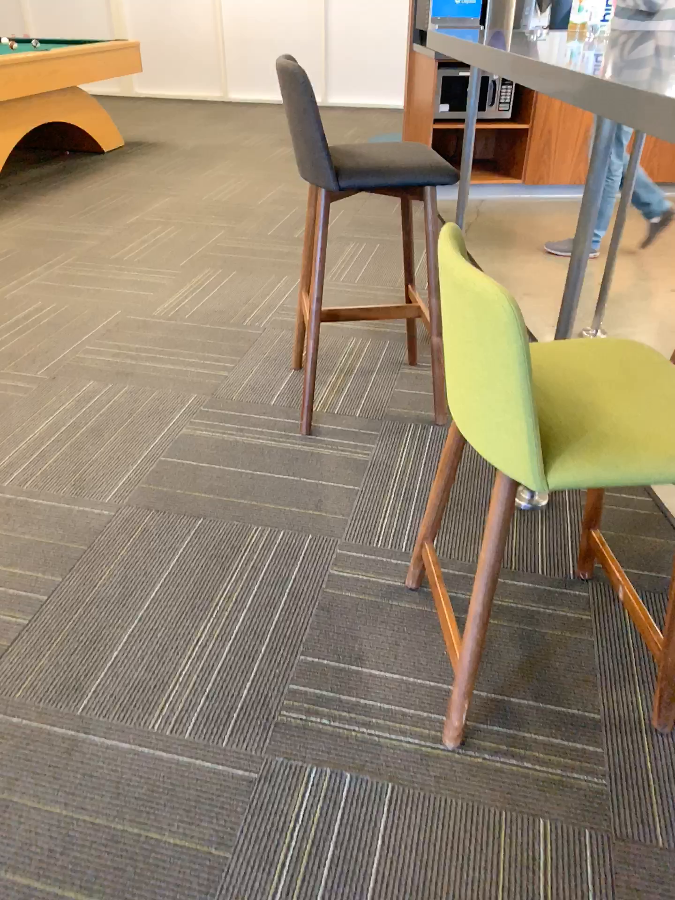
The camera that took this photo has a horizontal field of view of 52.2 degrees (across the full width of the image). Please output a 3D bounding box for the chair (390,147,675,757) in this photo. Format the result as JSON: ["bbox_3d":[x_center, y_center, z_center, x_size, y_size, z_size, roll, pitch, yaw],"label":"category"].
[{"bbox_3d":[0.374,0.000,1.236,0.480,0.874,0.594,-4,34,-1],"label":"chair"}]

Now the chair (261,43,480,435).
[{"bbox_3d":[0.062,-0.697,2.179,0.500,0.944,0.855,-5,34,-3],"label":"chair"}]
